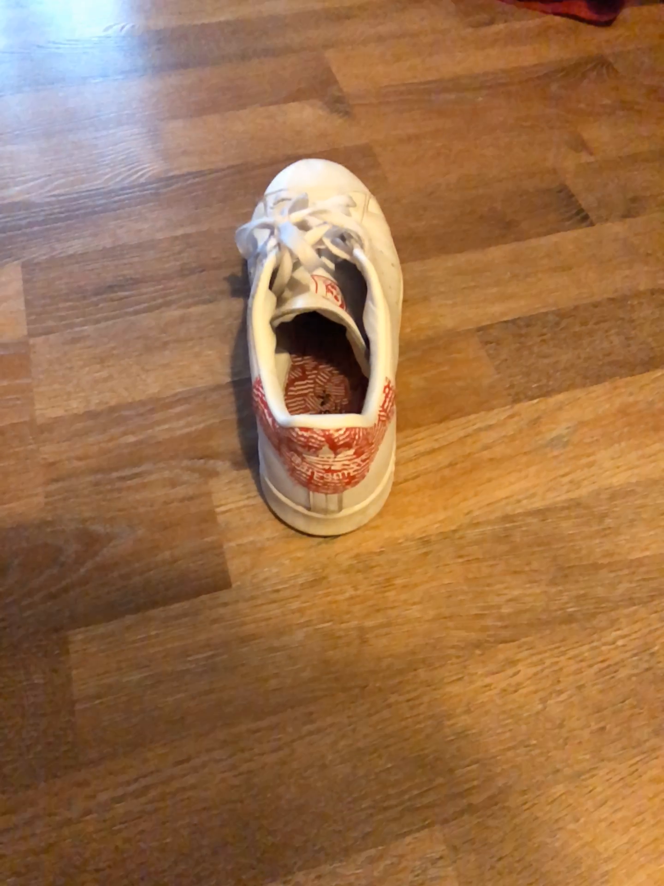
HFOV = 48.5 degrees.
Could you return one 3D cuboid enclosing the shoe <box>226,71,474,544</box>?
[{"bbox_3d":[0.001,-0.083,0.410,0.100,0.109,0.251,-1,57,-3],"label":"shoe"}]
